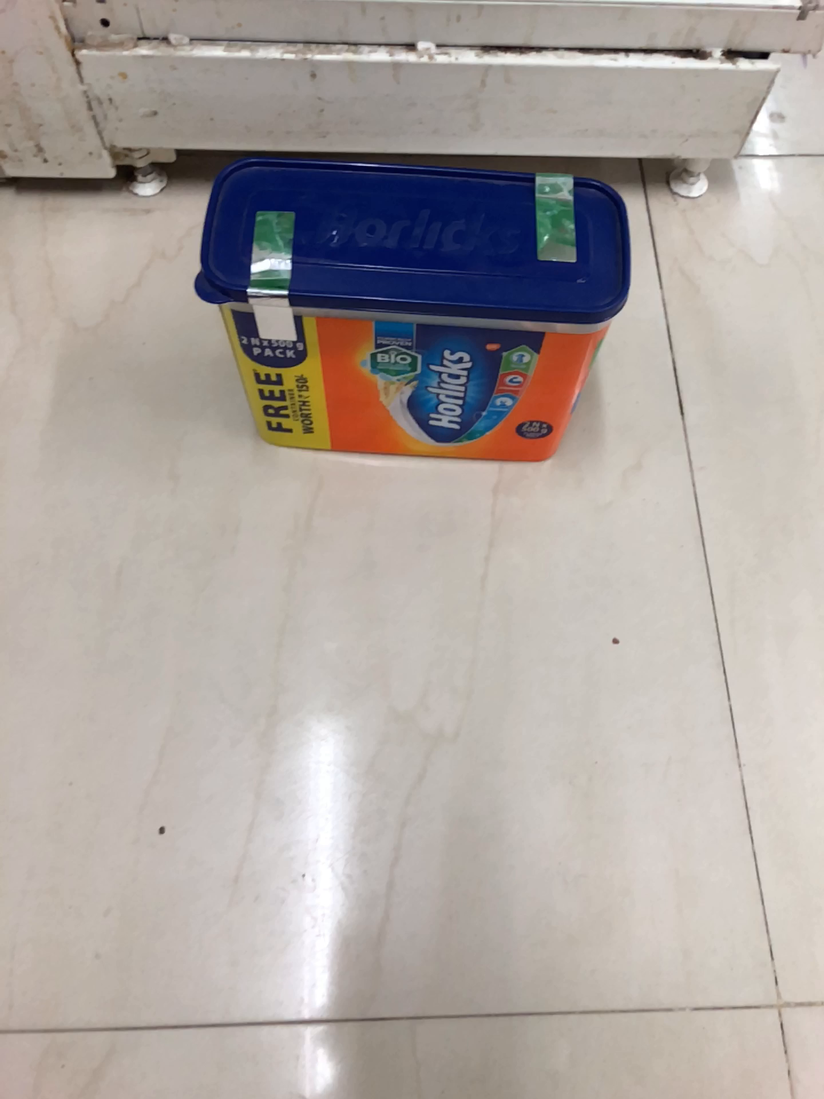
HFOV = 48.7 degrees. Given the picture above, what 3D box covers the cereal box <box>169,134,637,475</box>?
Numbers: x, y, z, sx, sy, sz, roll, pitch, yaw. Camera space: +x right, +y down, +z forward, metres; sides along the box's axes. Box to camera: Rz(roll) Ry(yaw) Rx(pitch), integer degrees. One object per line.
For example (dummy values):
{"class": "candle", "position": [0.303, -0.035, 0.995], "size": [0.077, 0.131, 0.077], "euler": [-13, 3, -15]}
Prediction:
{"class": "cereal box", "position": [-0.004, -0.130, 0.521], "size": [0.220, 0.159, 0.100], "euler": [3, 67, -1]}
